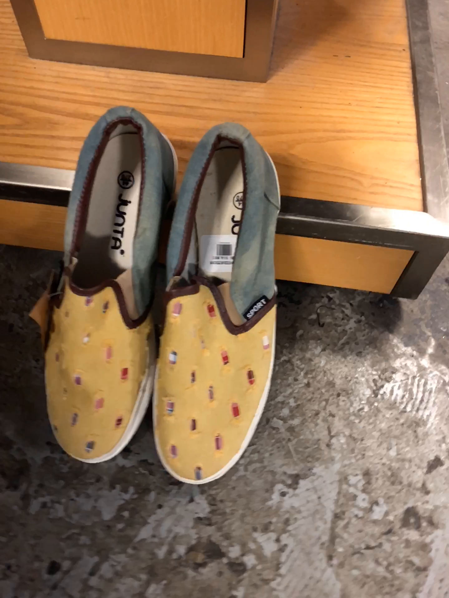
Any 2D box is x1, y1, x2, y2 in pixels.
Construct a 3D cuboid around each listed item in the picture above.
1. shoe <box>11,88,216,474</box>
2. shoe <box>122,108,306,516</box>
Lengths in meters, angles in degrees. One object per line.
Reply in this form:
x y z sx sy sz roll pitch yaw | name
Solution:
-0.086 -0.016 0.400 0.090 0.259 0.120 14 16 7 | shoe
-0.008 0.009 0.388 0.090 0.279 0.100 10 16 10 | shoe
